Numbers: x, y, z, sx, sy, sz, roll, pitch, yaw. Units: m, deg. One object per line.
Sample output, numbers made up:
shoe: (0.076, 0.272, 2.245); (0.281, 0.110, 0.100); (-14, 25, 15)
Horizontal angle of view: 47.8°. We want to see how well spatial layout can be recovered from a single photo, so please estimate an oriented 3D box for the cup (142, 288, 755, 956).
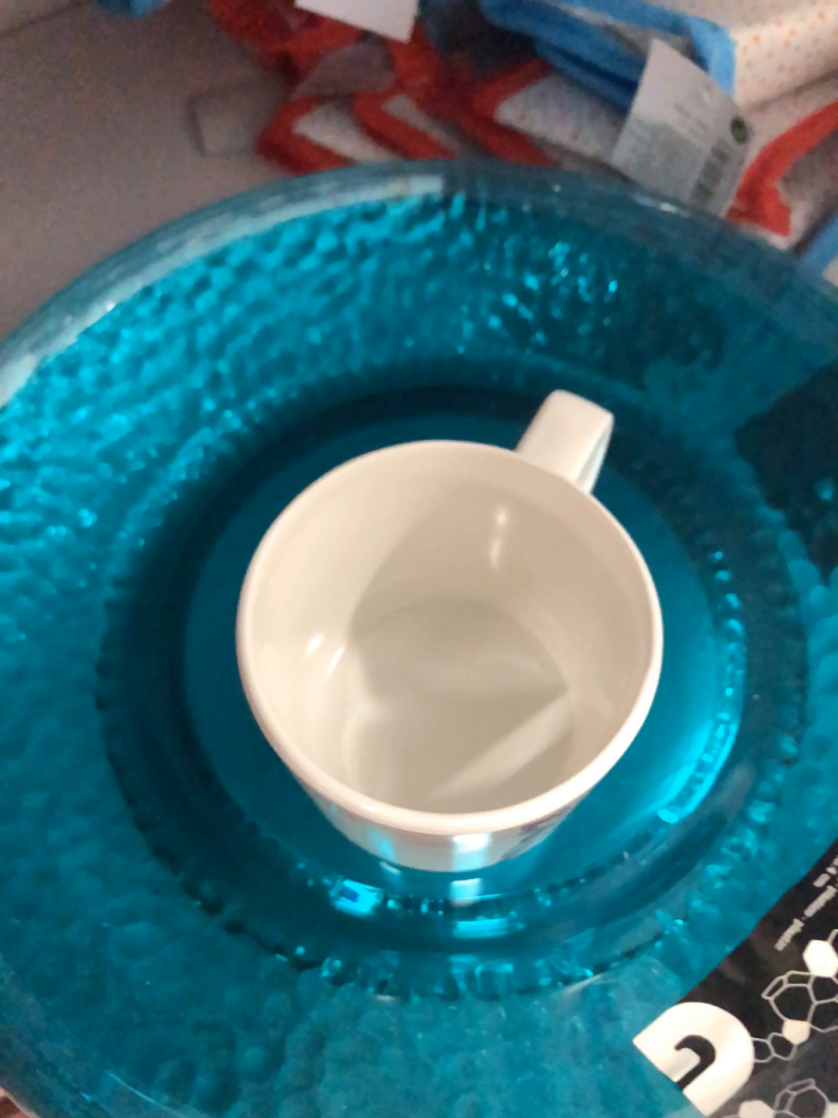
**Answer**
cup: (0.010, 0.013, 0.198); (0.075, 0.064, 0.103); (22, 65, 11)
